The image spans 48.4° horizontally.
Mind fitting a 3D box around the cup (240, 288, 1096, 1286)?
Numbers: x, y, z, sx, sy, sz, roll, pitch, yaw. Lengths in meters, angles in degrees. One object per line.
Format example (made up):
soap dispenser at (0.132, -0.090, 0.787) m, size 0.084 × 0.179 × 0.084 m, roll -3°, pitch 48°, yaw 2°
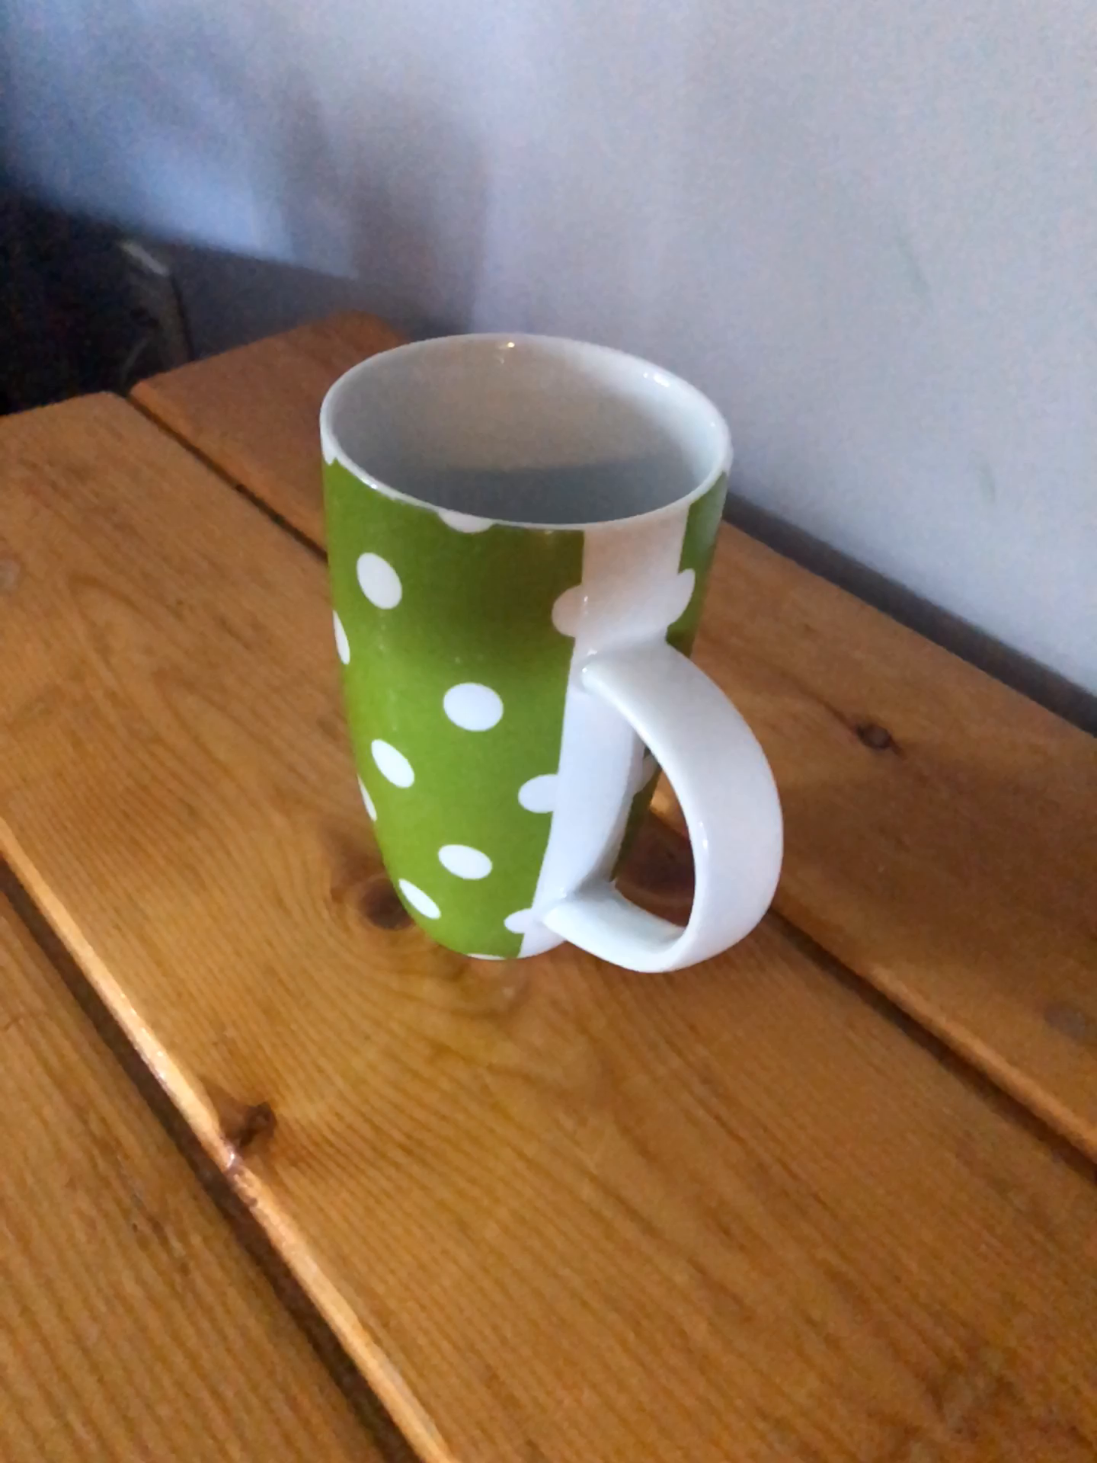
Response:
cup at (0.014, 0.005, 0.286) m, size 0.100 × 0.150 × 0.150 m, roll -22°, pitch 47°, yaw -24°
